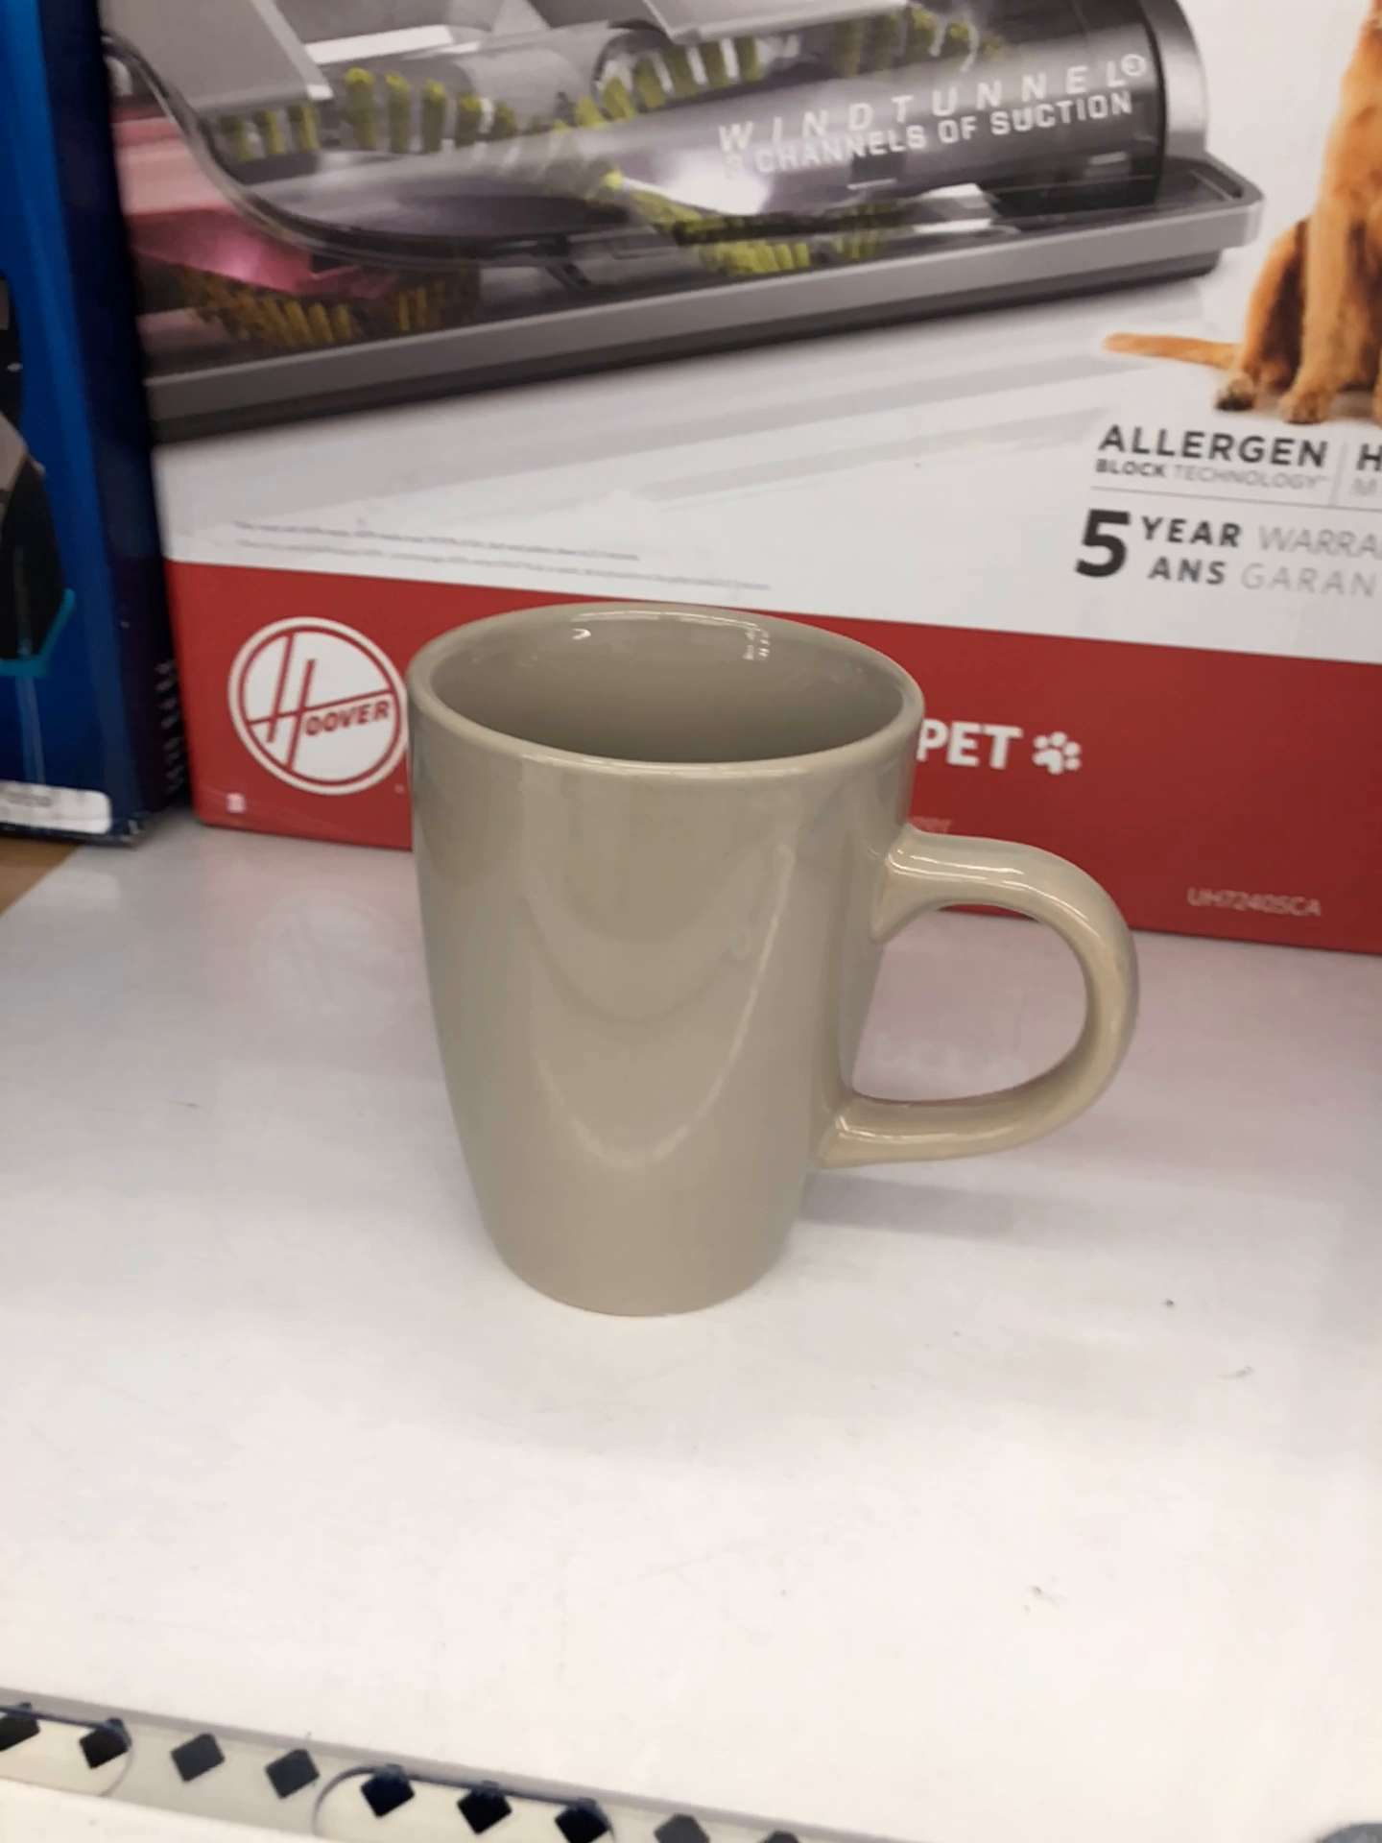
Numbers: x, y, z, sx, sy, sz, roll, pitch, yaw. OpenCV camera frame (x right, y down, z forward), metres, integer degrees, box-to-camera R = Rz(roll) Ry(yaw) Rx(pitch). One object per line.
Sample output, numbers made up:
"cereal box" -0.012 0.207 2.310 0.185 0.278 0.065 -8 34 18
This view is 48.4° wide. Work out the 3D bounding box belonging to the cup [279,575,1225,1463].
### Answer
"cup" 0.014 0.007 0.256 0.125 0.092 0.088 11 28 15
